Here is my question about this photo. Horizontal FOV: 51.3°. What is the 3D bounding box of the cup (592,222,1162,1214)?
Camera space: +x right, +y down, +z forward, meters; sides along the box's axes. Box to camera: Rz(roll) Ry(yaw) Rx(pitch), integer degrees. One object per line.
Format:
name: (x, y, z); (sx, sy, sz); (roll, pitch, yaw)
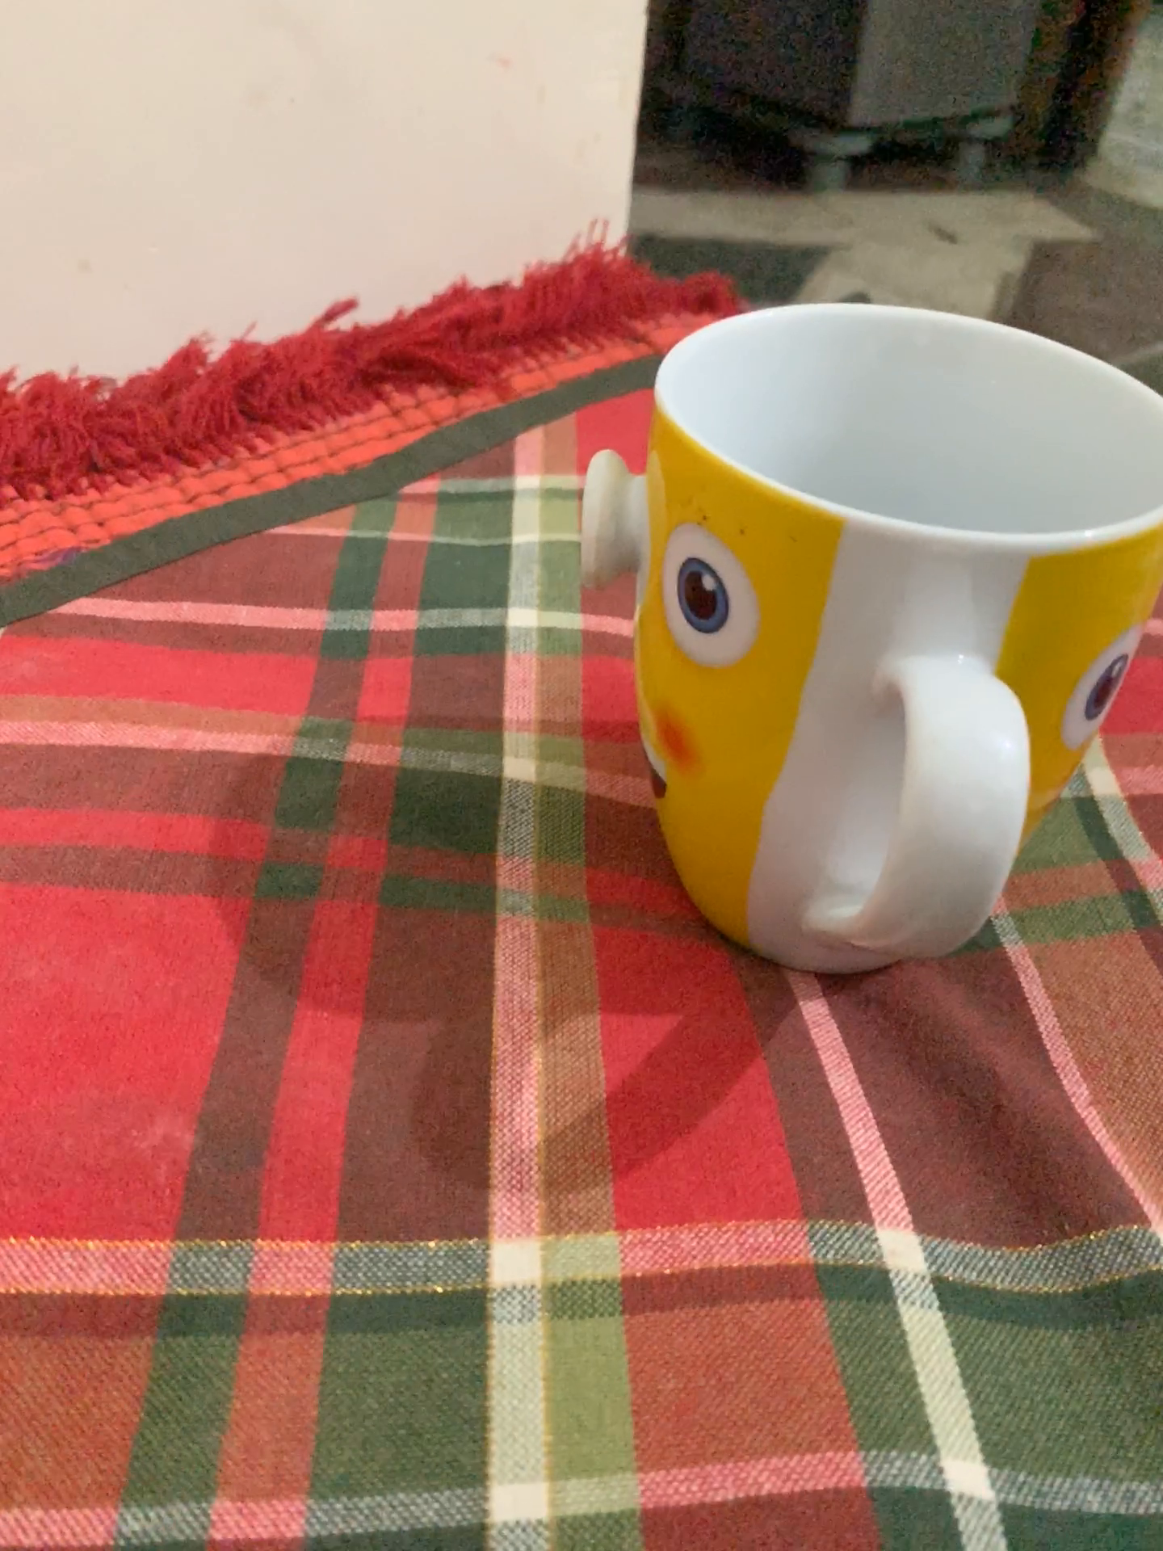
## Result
cup: (0.050, -0.017, 0.178); (0.080, 0.080, 0.120); (7, 41, 1)
